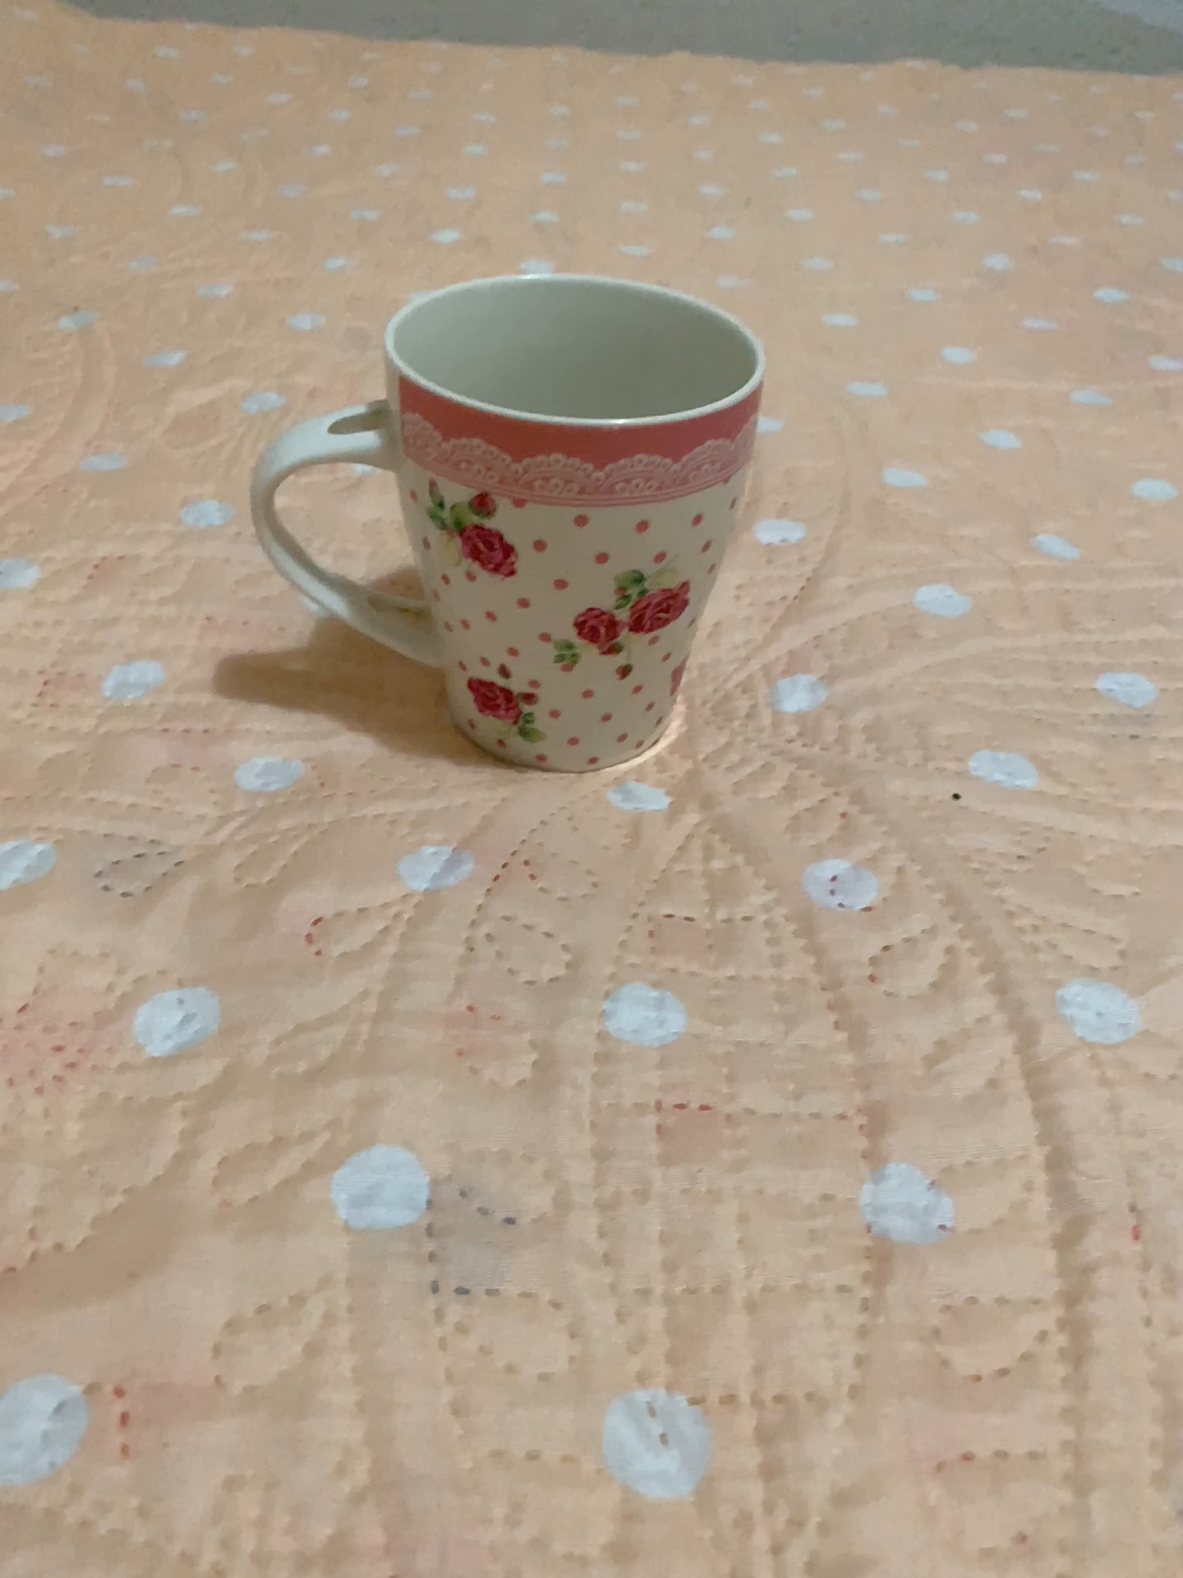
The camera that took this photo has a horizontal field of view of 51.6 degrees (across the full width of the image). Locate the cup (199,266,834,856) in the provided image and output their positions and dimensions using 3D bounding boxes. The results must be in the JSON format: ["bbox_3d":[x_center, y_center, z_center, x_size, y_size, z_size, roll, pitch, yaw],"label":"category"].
[{"bbox_3d":[-0.023,-0.058,0.294,0.120,0.099,0.090,-6,41,-11],"label":"cup"}]
